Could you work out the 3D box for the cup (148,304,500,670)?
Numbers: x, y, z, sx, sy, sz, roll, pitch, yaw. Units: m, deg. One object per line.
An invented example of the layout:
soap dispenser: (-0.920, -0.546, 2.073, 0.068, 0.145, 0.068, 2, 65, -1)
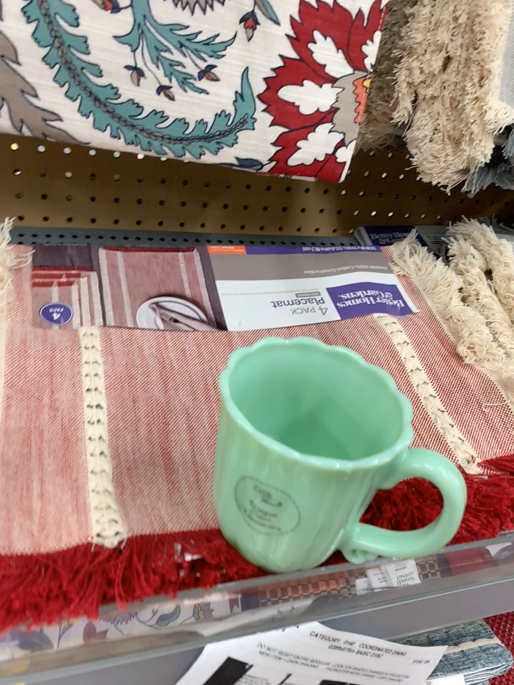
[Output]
cup: (0.029, 0.059, 0.256, 0.130, 0.090, 0.090, 22, 34, 18)
